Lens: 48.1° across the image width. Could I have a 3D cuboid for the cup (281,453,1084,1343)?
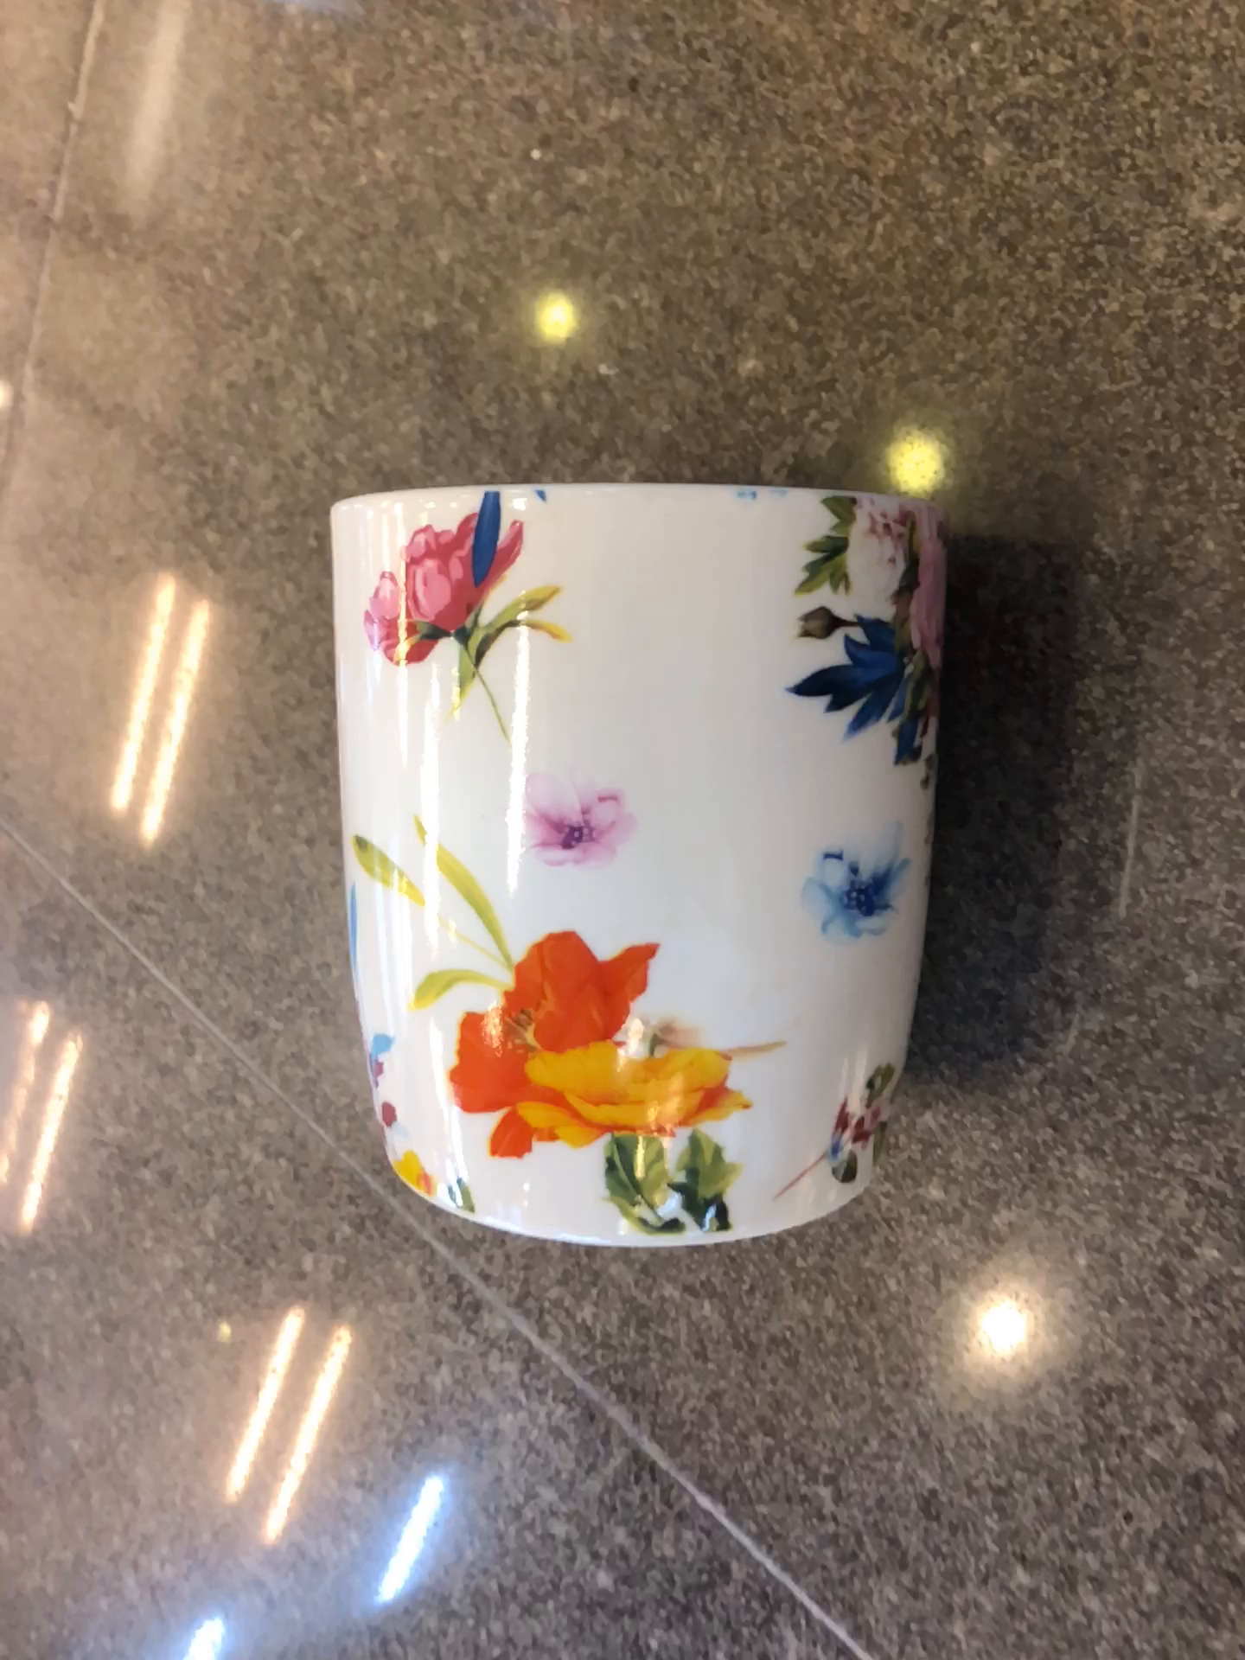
[{"bbox_3d":[-0.005,0.001,0.208,0.120,0.080,0.090,-158,68,-71],"label":"cup"}]
